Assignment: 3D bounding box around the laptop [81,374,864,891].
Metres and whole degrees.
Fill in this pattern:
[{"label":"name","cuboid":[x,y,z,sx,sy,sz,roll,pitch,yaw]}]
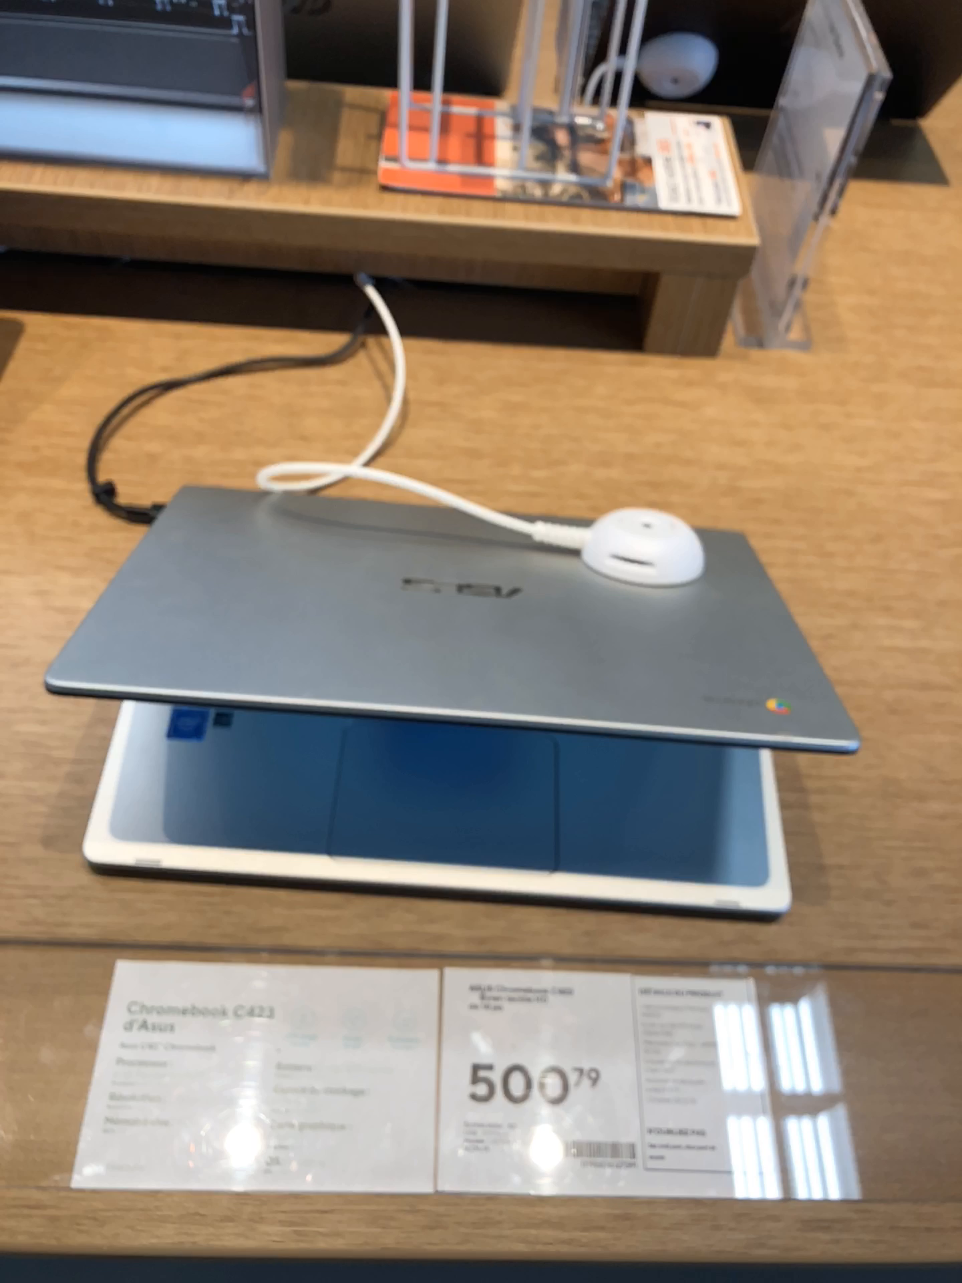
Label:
[{"label":"laptop","cuboid":[0.002,-0.008,0.504,0.304,0.080,0.206,5,56,-4]}]
